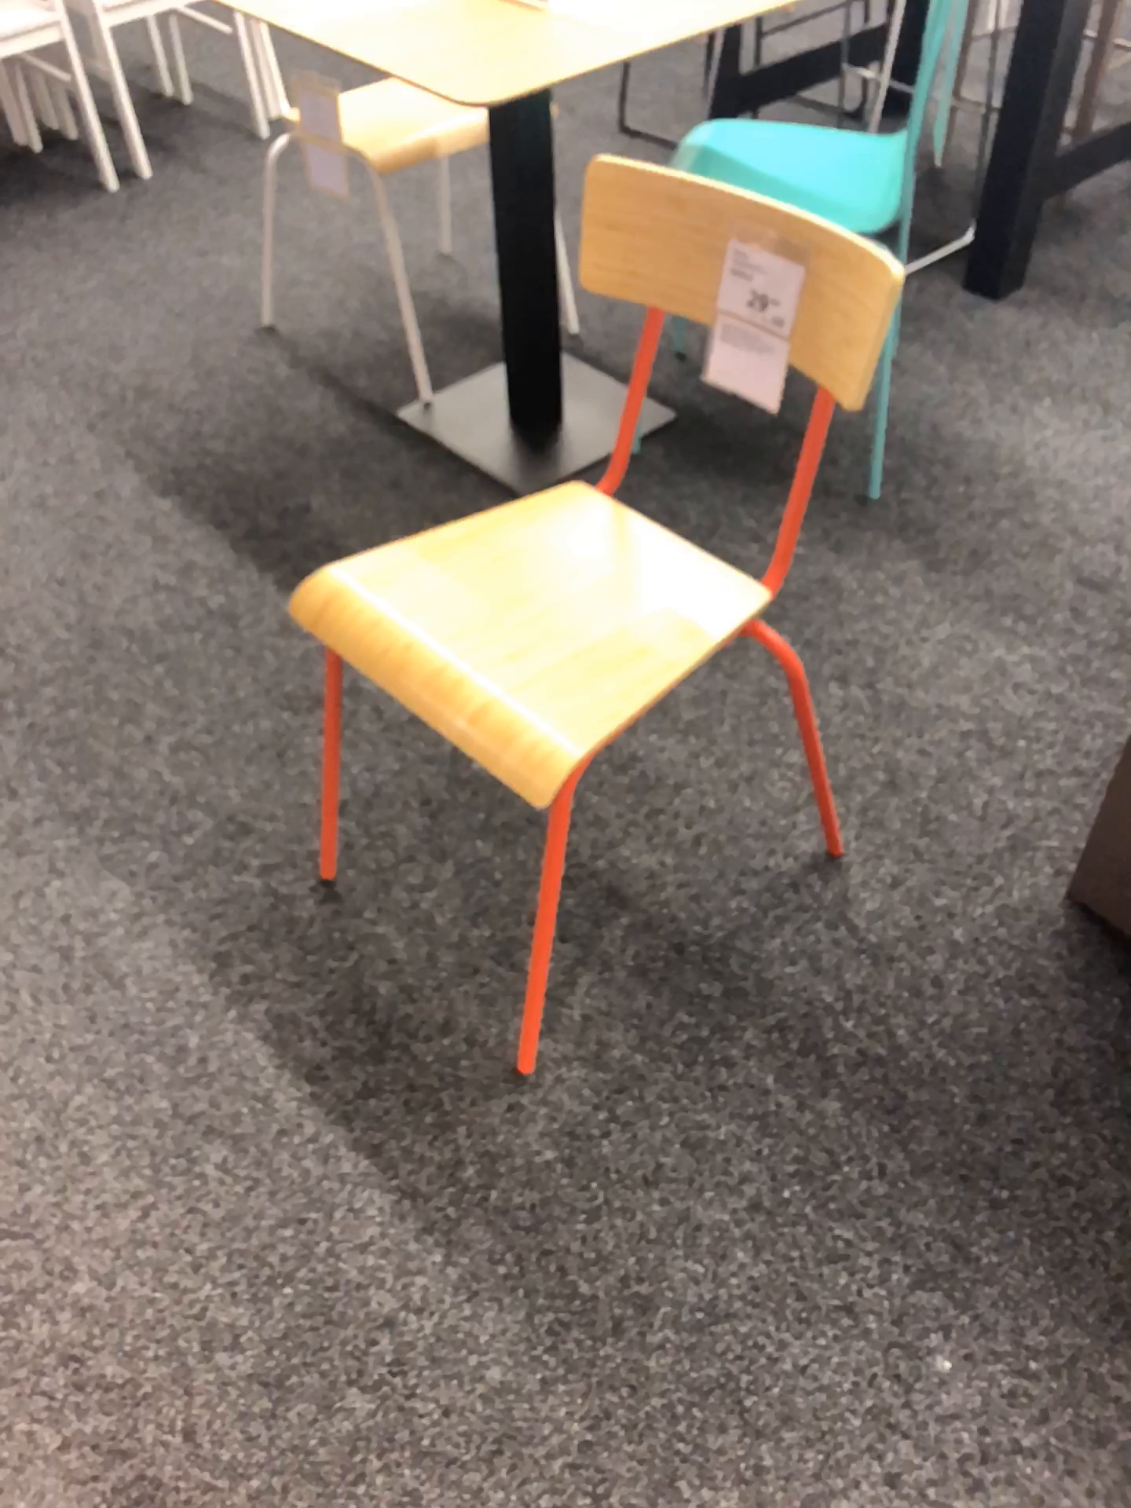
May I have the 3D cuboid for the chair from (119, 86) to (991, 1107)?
[{"bbox_3d":[0.001,-0.162,1.363,0.562,0.816,0.501,-34,53,-28],"label":"chair"}]
